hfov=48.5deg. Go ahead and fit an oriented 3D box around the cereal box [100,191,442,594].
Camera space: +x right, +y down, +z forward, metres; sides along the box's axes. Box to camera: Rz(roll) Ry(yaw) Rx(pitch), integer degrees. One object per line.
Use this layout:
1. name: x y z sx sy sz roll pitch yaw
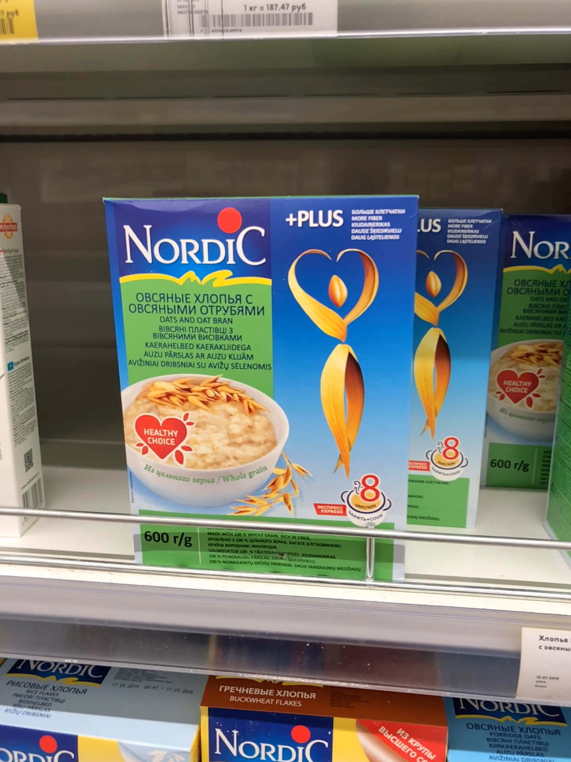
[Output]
1. cereal box: -0.004 0.001 0.331 0.150 0.189 0.070 2 15 8
